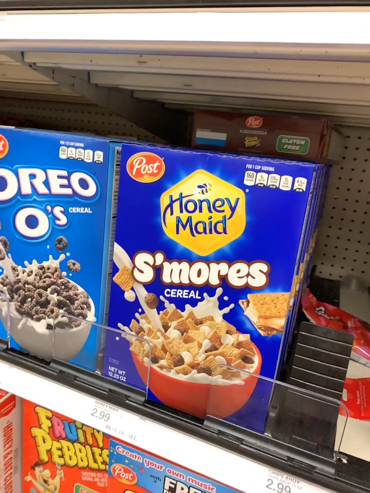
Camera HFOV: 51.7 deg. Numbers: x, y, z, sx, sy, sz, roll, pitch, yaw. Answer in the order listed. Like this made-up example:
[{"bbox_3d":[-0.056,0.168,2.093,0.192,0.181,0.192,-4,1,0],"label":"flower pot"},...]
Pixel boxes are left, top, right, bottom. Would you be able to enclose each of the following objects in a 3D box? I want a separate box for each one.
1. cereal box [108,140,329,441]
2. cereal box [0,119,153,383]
[{"bbox_3d":[0.026,0.037,0.407,0.190,0.269,0.060,12,13,21],"label":"cereal box"},{"bbox_3d":[-0.148,0.000,0.459,0.180,0.269,0.070,11,13,18],"label":"cereal box"}]
